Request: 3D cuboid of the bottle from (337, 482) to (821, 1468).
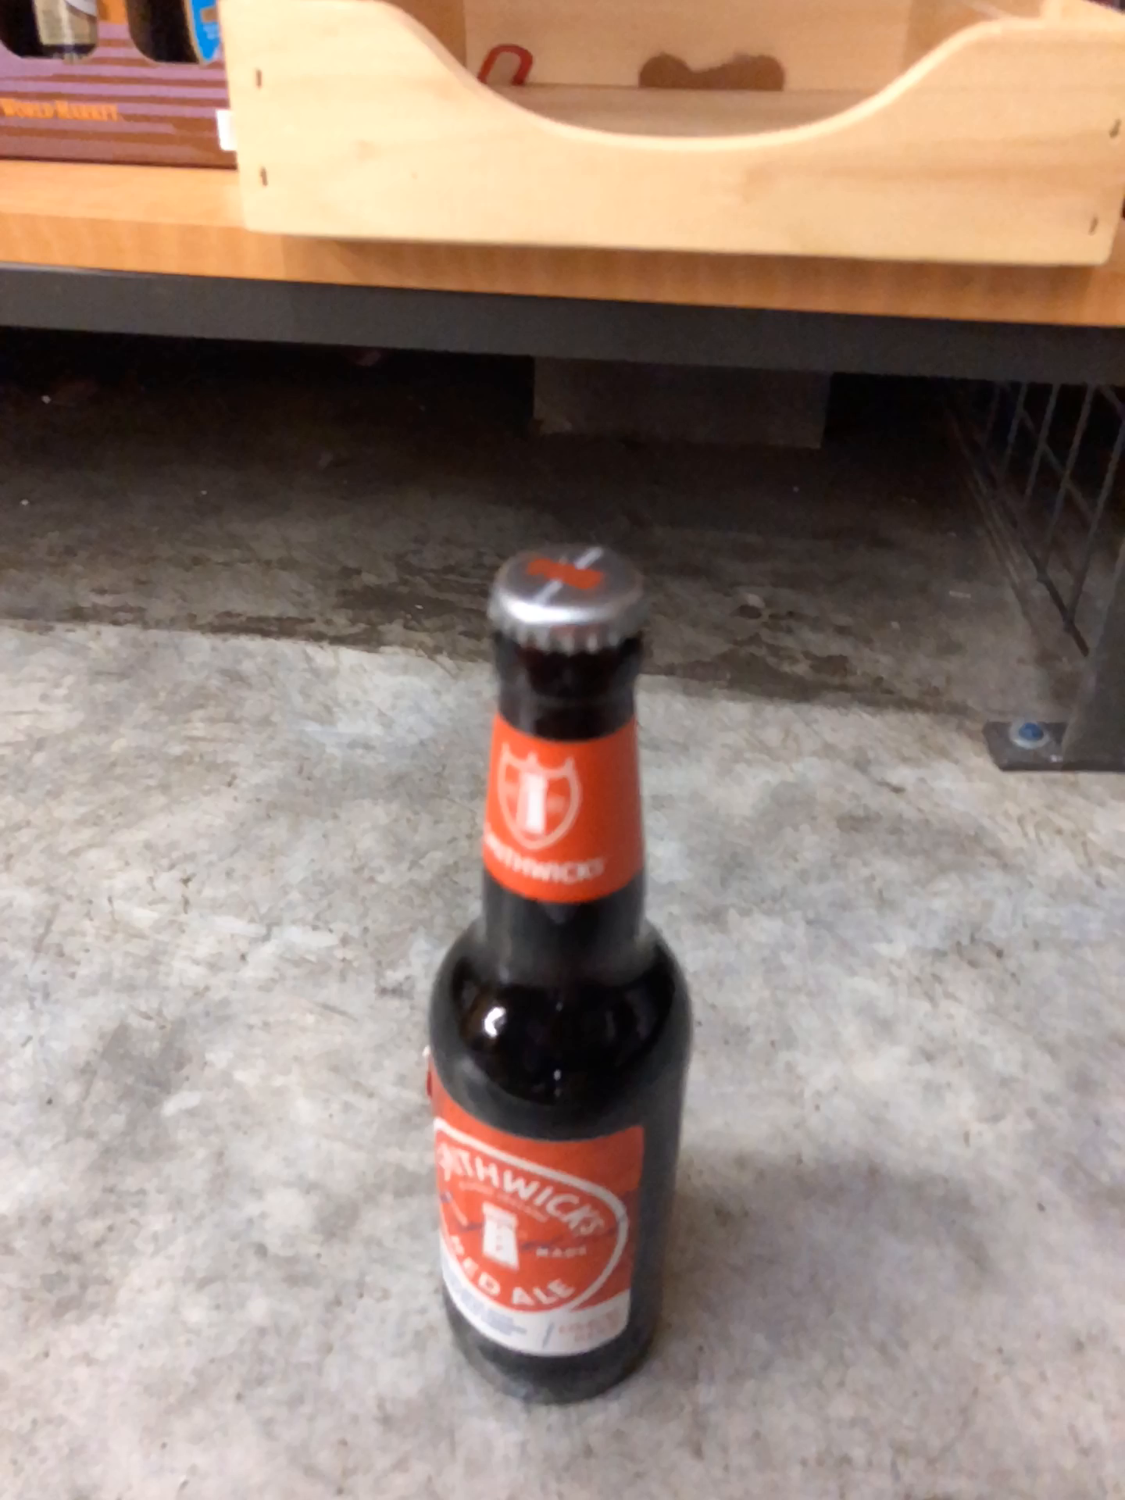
[{"bbox_3d":[0.002,0.061,0.271,0.059,0.220,0.060,1,35,-1],"label":"bottle"}]
